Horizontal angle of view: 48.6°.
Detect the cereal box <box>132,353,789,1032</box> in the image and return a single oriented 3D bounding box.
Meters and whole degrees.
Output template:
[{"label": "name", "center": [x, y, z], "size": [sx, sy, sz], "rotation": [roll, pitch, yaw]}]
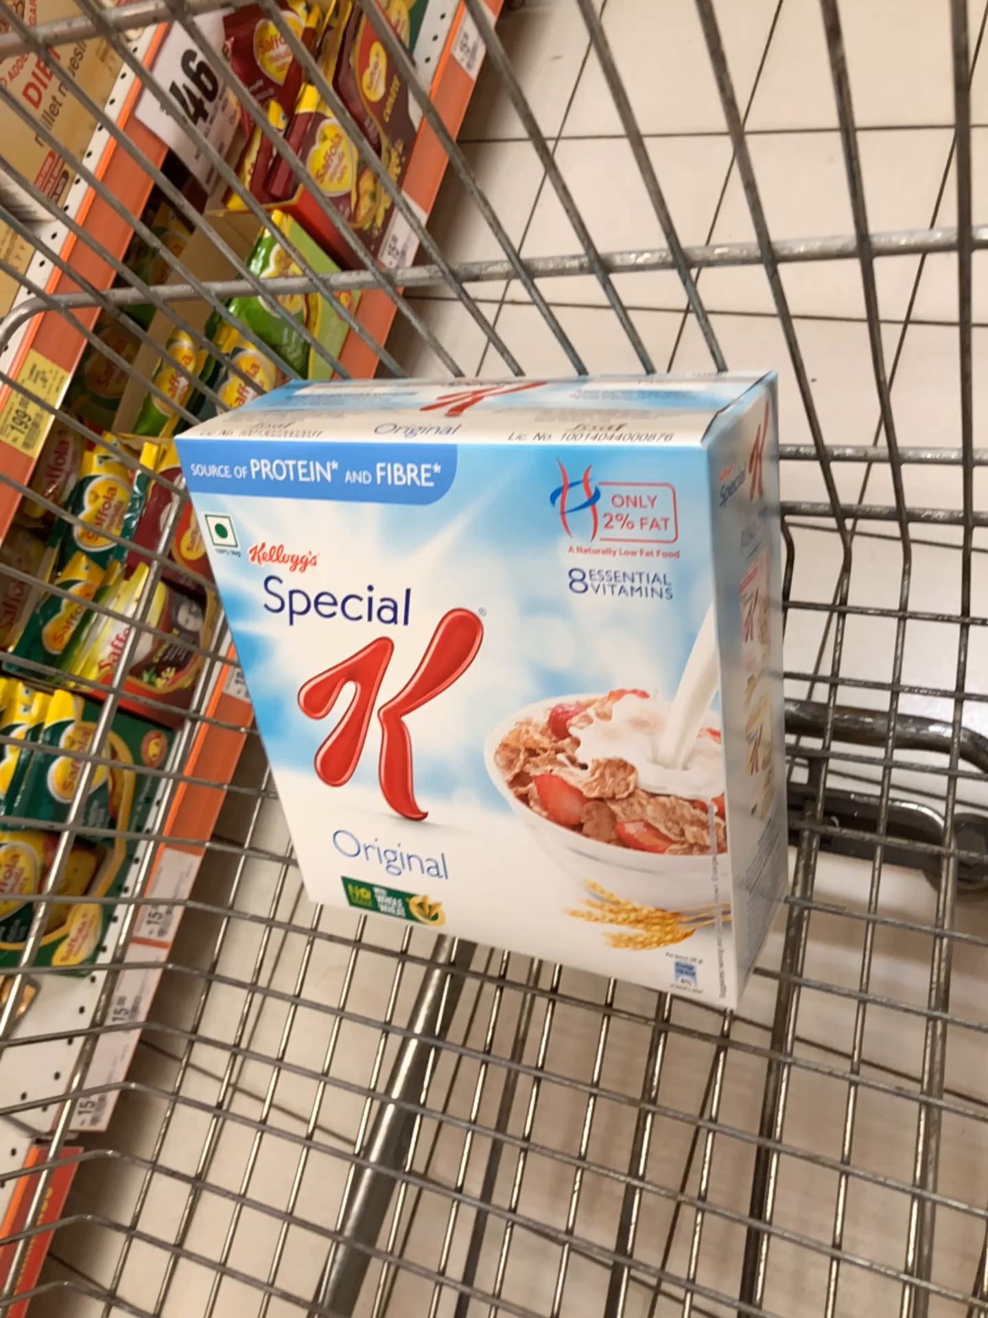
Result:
[{"label": "cereal box", "center": [-0.001, 0.009, 0.387], "size": [0.190, 0.209, 0.070], "rotation": [6, 33, 26]}]
